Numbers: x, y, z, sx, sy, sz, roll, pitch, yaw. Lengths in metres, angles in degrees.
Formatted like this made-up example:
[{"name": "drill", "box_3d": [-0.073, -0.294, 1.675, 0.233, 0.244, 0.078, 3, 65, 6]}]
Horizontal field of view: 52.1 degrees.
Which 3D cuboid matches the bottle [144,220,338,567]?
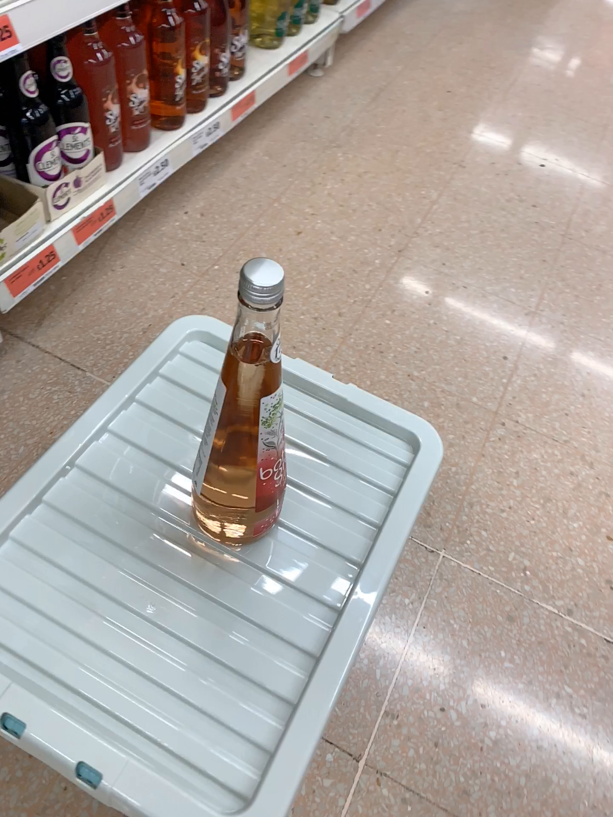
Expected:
[{"name": "bottle", "box_3d": [-0.058, 0.013, 0.495, 0.090, 0.299, 0.081, 23, 53, 7]}]
